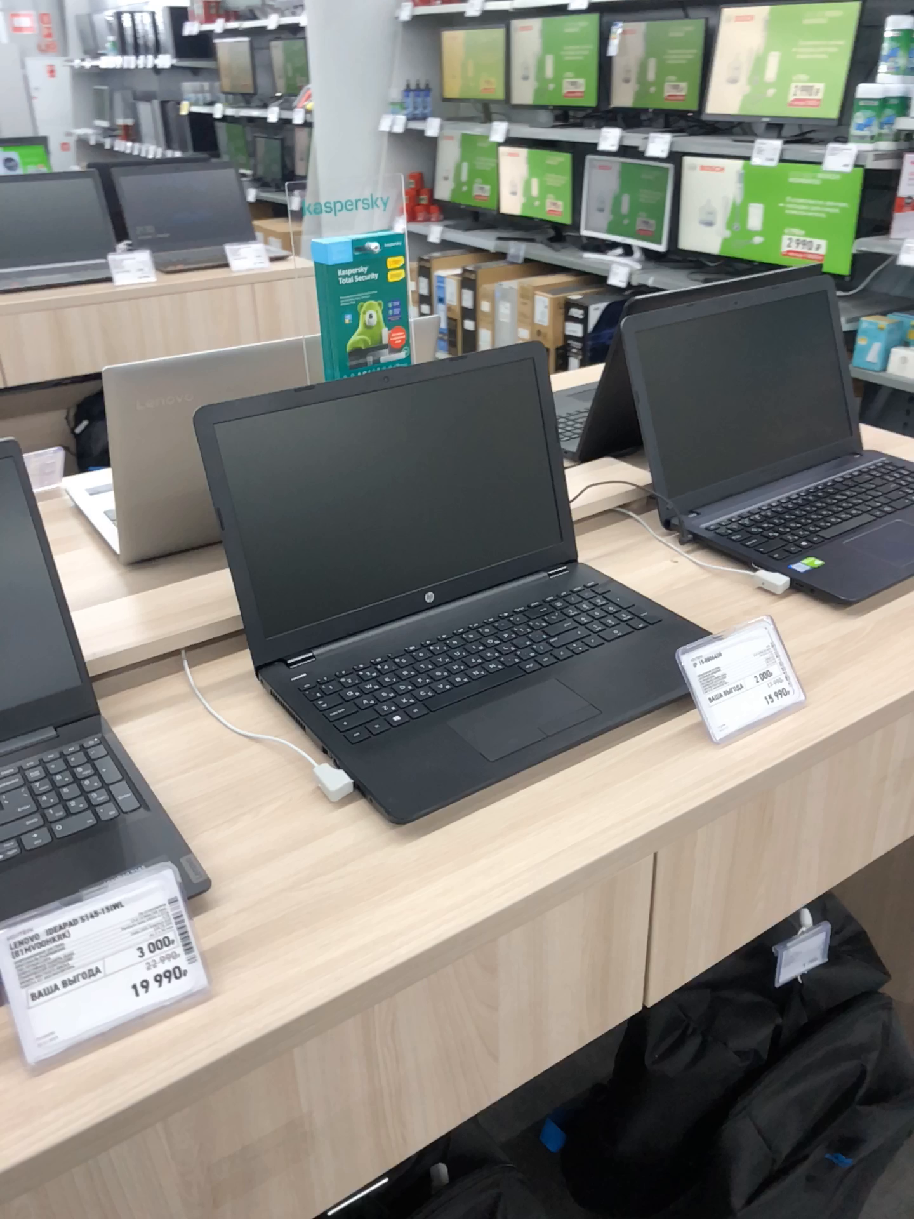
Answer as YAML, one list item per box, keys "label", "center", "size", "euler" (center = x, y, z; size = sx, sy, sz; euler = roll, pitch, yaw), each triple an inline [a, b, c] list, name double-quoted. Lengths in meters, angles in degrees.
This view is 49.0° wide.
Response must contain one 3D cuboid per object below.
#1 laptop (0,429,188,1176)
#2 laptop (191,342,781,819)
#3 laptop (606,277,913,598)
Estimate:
- label: "laptop"
  center: [-0.400, 0.065, 0.642]
  size: [0.332, 0.213, 0.328]
  euler: [-19, 33, -30]
- label: "laptop"
  center: [0.019, -0.062, 0.864]
  size: [0.367, 0.216, 0.312]
  euler: [-19, 33, -30]
- label: "laptop"
  center: [0.431, -0.221, 1.142]
  size: [0.370, 0.209, 0.334]
  euler: [-20, 35, -32]
